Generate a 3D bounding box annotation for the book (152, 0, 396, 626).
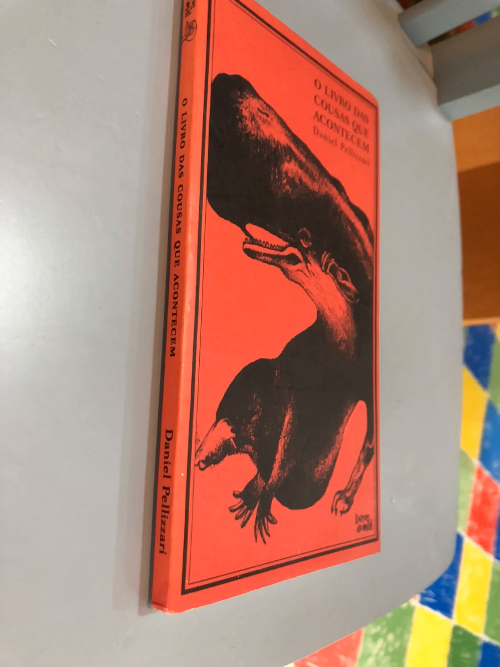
[{"bbox_3d":[0.018,-0.014,0.208,0.111,0.016,0.200,9,80,-45],"label":"book"}]
